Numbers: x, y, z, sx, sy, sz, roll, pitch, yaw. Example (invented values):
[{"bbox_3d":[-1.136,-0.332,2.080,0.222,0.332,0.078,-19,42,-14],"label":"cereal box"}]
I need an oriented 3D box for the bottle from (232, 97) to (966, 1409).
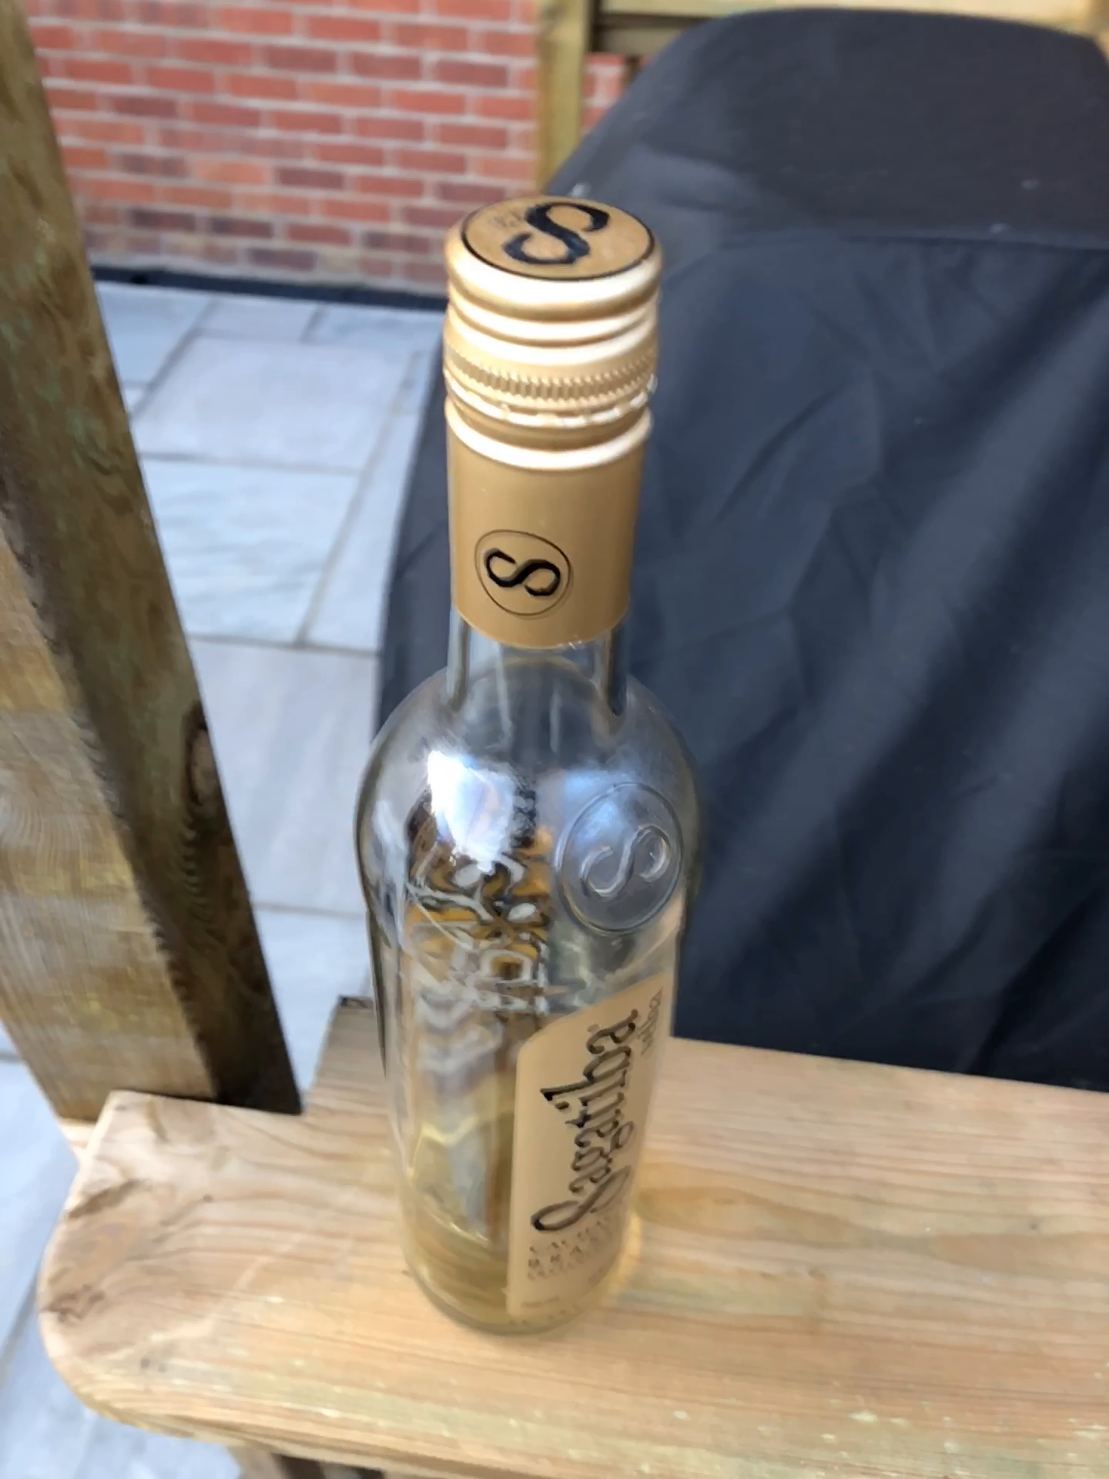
[{"bbox_3d":[-0.003,0.045,0.278,0.080,0.327,0.060,-17,47,-20],"label":"bottle"}]
